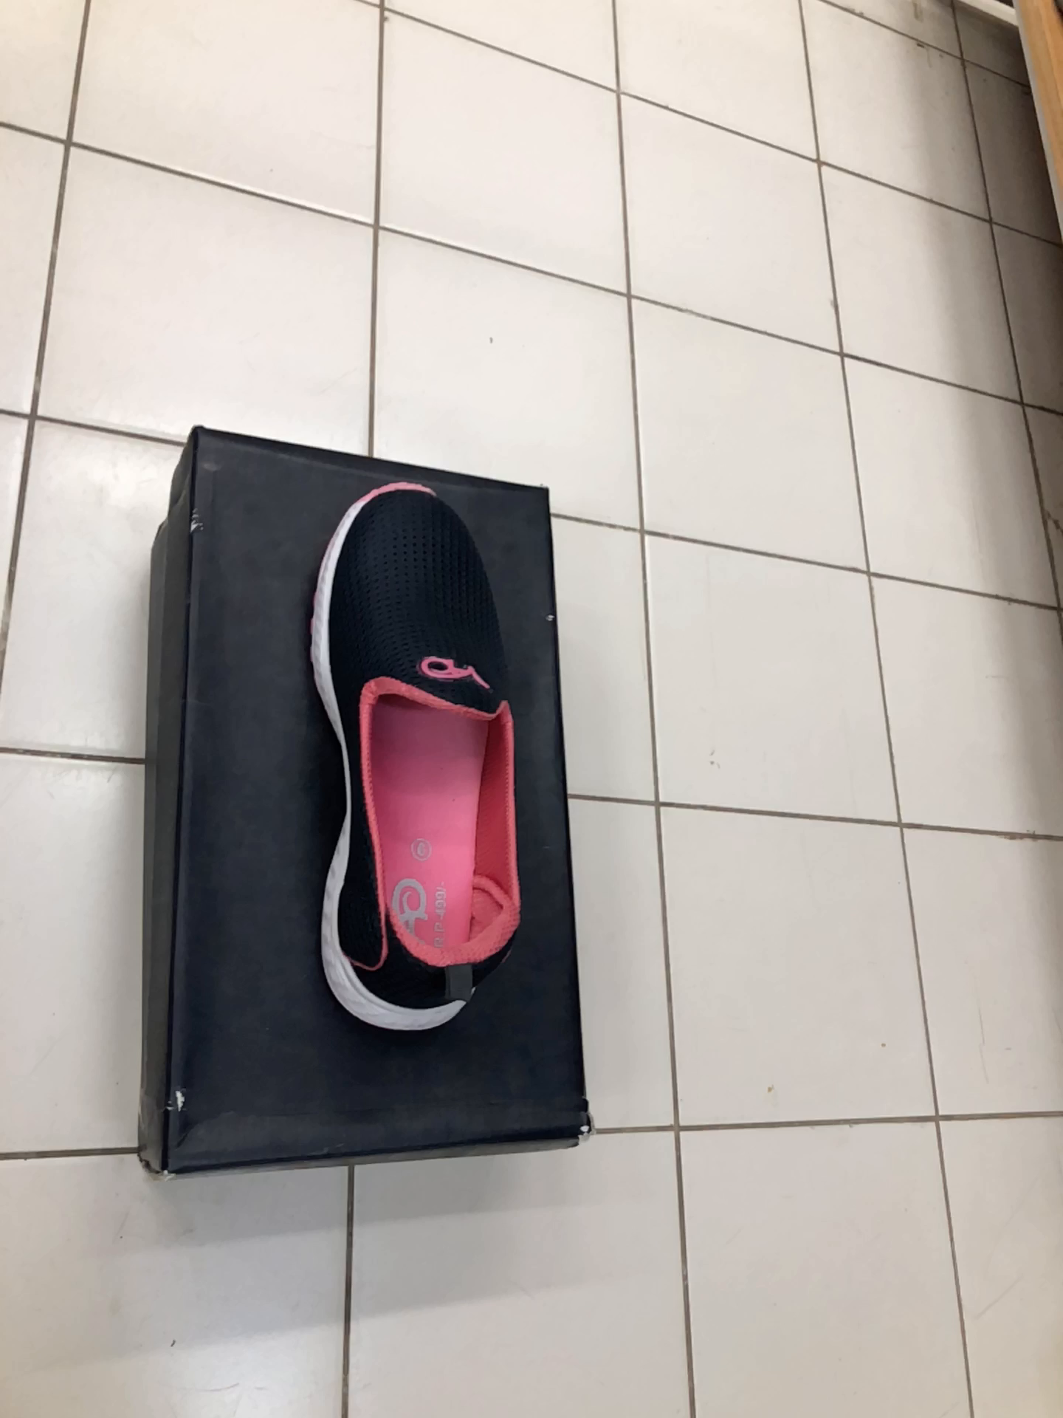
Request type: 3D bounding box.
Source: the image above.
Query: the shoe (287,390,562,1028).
[{"bbox_3d":[-0.054,0.004,0.544,0.090,0.099,0.271,6,70,-23],"label":"shoe"}]
